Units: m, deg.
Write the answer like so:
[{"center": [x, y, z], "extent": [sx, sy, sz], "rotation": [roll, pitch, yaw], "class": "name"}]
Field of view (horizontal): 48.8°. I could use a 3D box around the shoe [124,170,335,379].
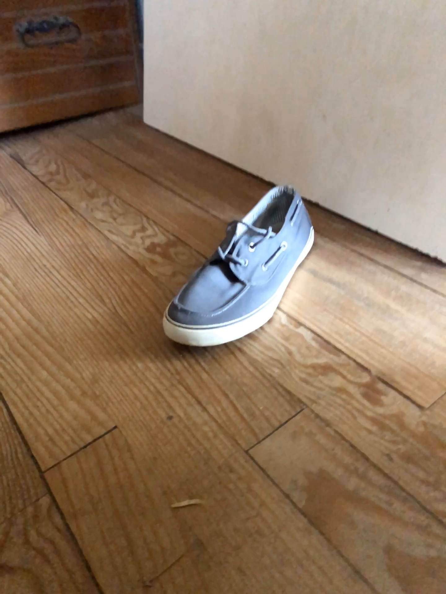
[{"center": [0.024, -0.043, 0.526], "extent": [0.100, 0.060, 0.272], "rotation": [16, 45, 26], "class": "shoe"}]
